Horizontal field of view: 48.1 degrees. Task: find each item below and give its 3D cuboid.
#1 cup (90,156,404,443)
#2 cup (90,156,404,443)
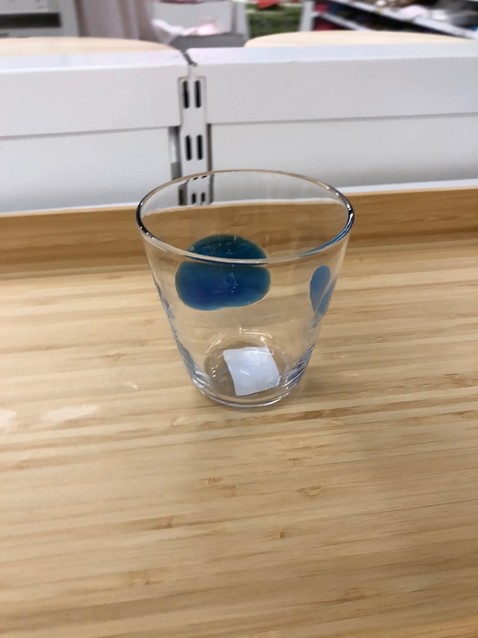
[{"bbox_3d":[0.010,-0.018,0.242,0.100,0.070,0.100,0,34,0],"label":"cup"},{"bbox_3d":[0.010,-0.018,0.242,0.100,0.070,0.100,0,34,0],"label":"cup"}]
